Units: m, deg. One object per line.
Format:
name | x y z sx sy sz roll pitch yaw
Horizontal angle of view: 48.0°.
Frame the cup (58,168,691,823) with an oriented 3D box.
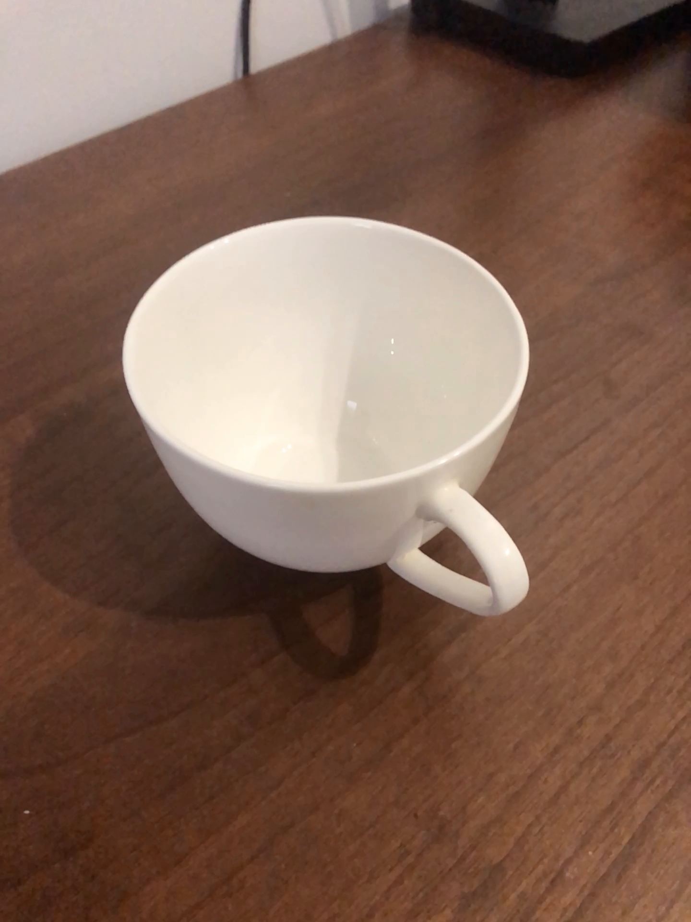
cup | 0.003 0.000 0.183 0.090 0.070 0.111 -25 53 -19
